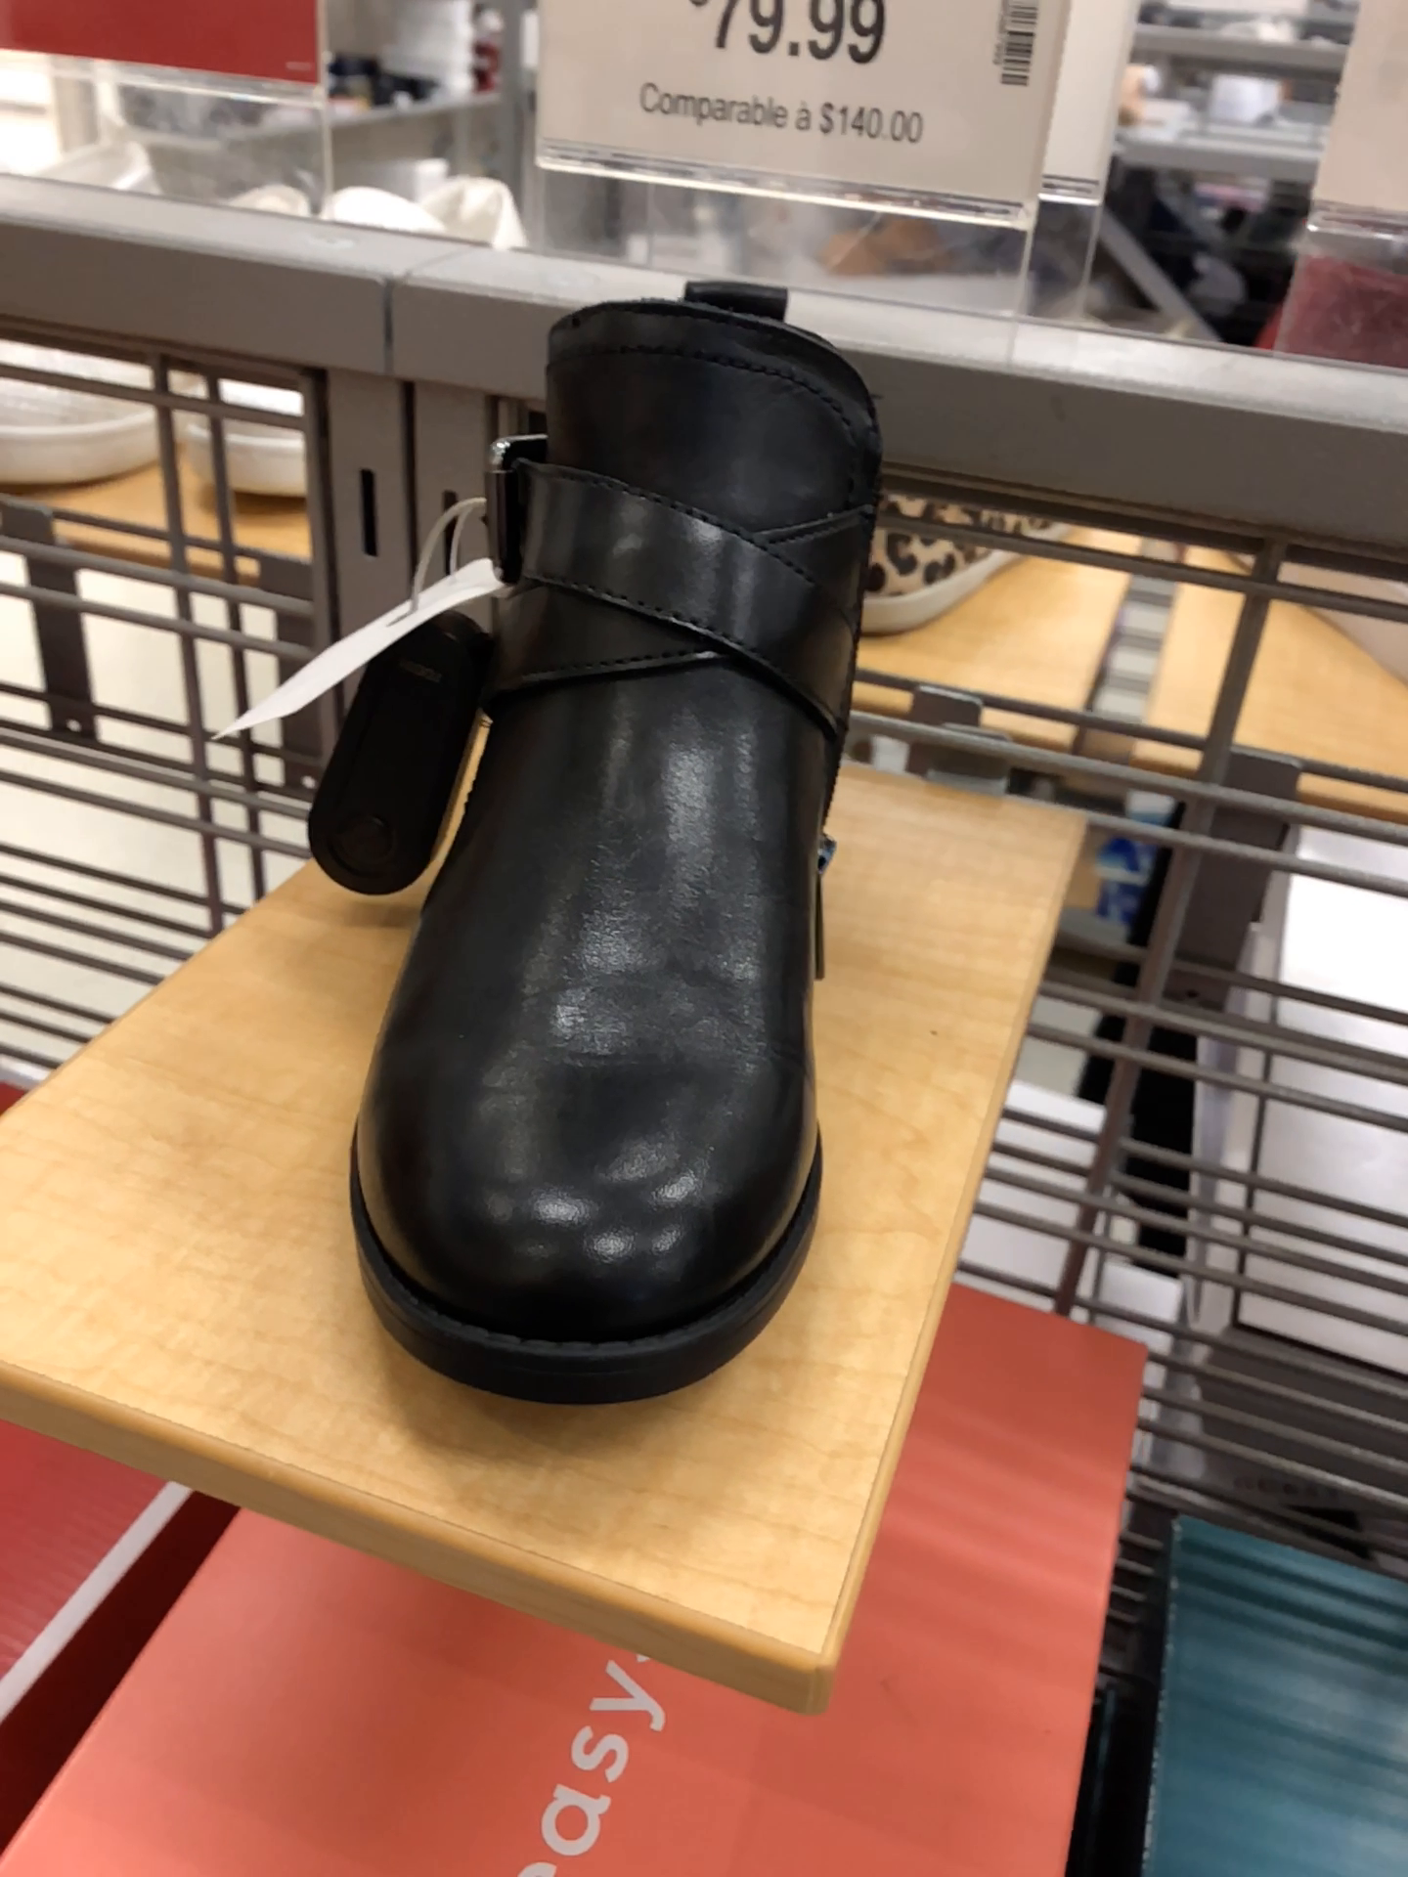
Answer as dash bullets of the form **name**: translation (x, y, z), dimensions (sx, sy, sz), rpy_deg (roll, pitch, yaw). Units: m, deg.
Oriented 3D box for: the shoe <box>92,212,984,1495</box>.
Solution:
- **shoe**: translation (-0.014, -0.039, 0.286), dimensions (0.090, 0.133, 0.222), rpy_deg (6, 33, 1)
